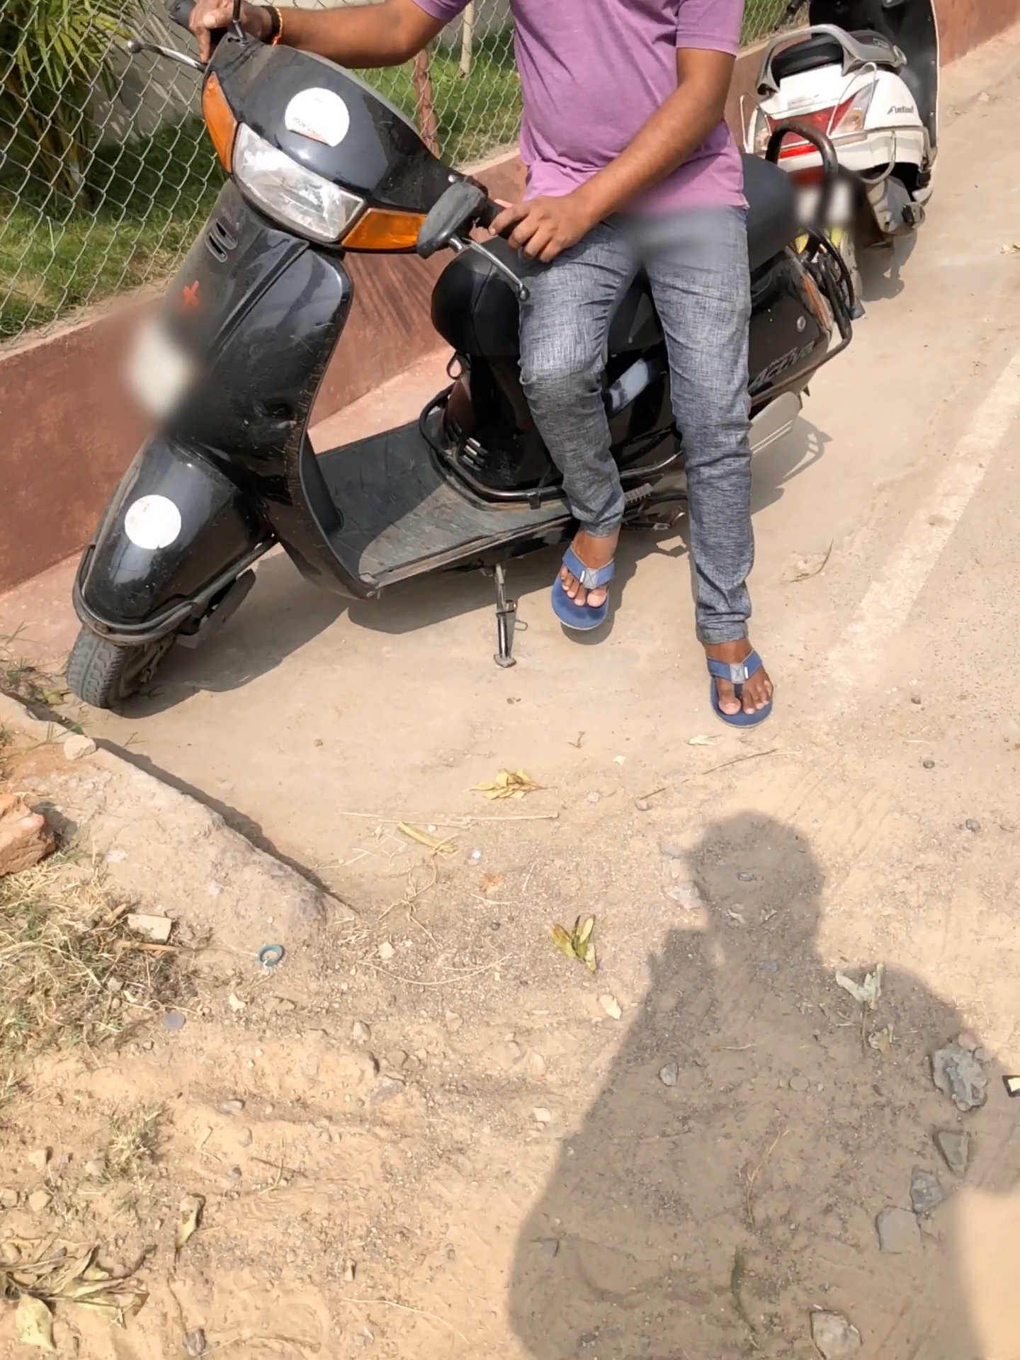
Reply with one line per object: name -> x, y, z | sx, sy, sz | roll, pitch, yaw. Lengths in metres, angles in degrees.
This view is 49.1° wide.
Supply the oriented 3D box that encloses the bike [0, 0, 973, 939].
bike -> -0.067, -0.544, 1.919 | 1.552, 1.153, 0.710 | -26, 40, -25
